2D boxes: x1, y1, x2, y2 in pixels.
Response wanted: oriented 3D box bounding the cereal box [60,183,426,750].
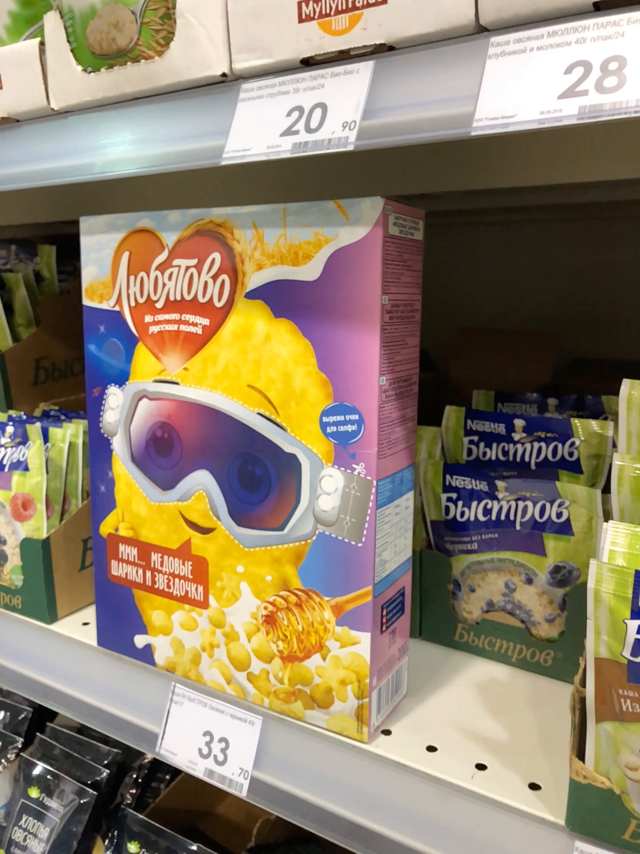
[{"bbox_3d":[-0.049,0.012,0.389,0.200,0.259,0.050,6,11,31],"label":"cereal box"}]
